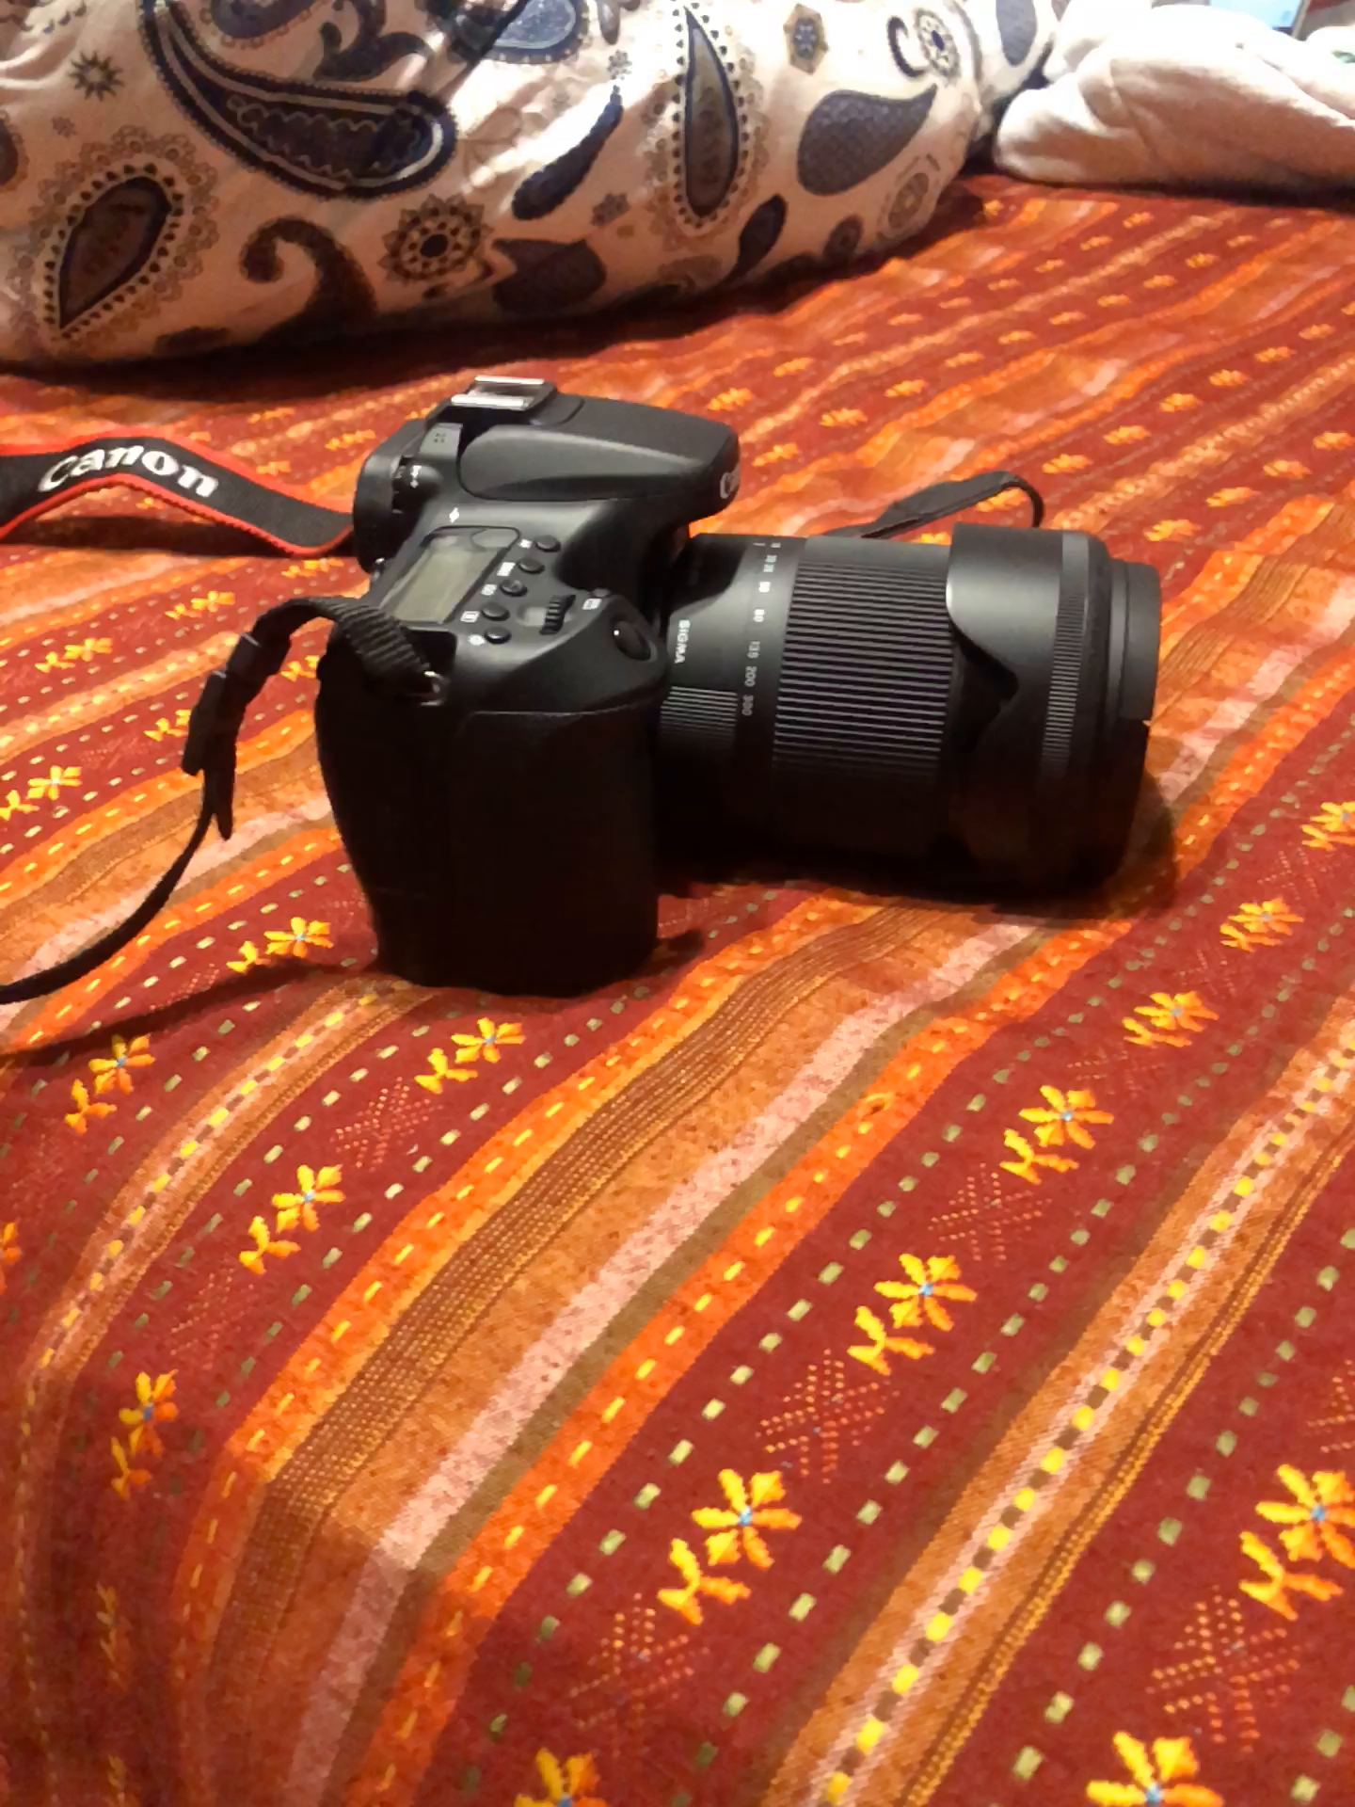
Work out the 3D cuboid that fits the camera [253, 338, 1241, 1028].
[{"bbox_3d":[0.019,-0.055,0.339,0.170,0.099,0.131,1,36,7],"label":"camera"}]
